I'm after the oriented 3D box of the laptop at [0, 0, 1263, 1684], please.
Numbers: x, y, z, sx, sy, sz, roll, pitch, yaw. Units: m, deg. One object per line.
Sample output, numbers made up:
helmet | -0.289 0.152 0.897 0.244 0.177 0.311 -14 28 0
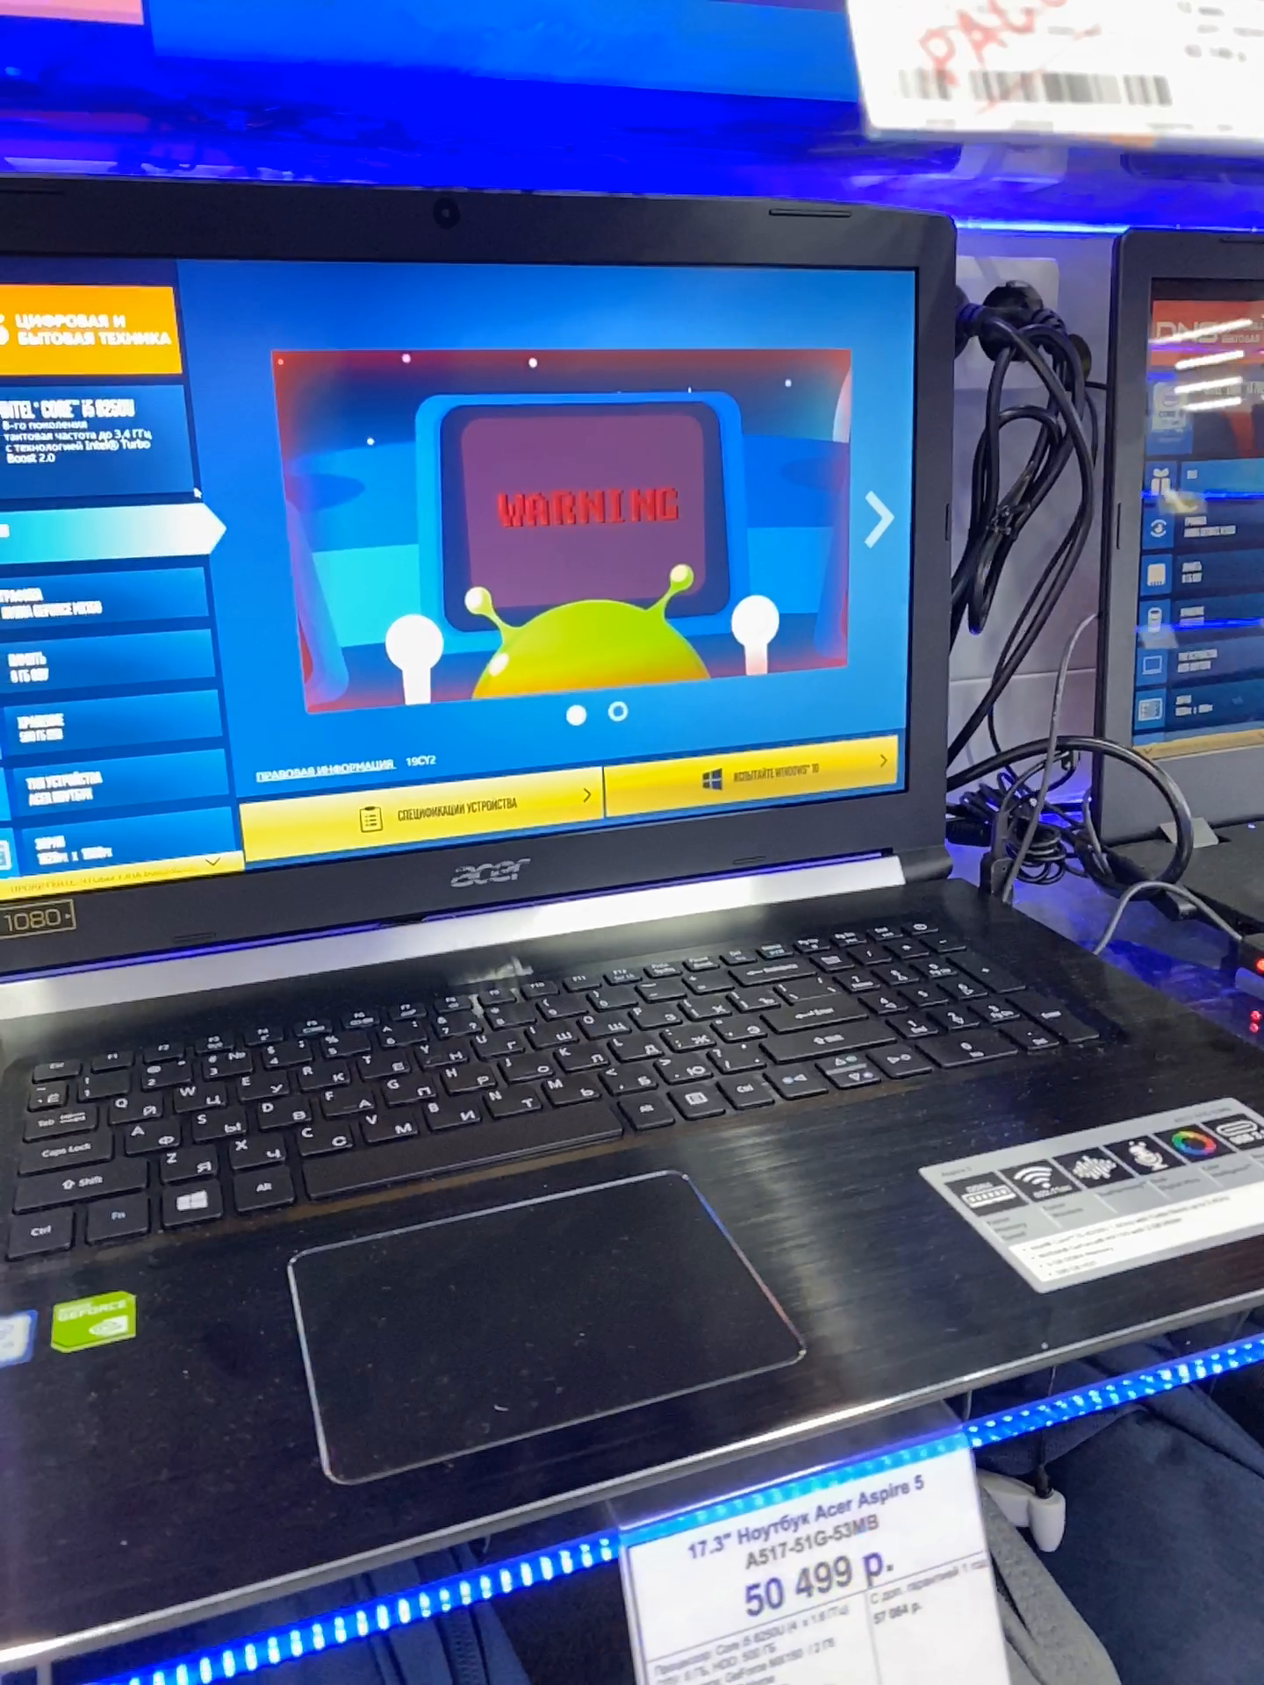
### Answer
laptop | -0.018 -0.057 0.375 0.424 0.278 0.312 -7 19 -19
